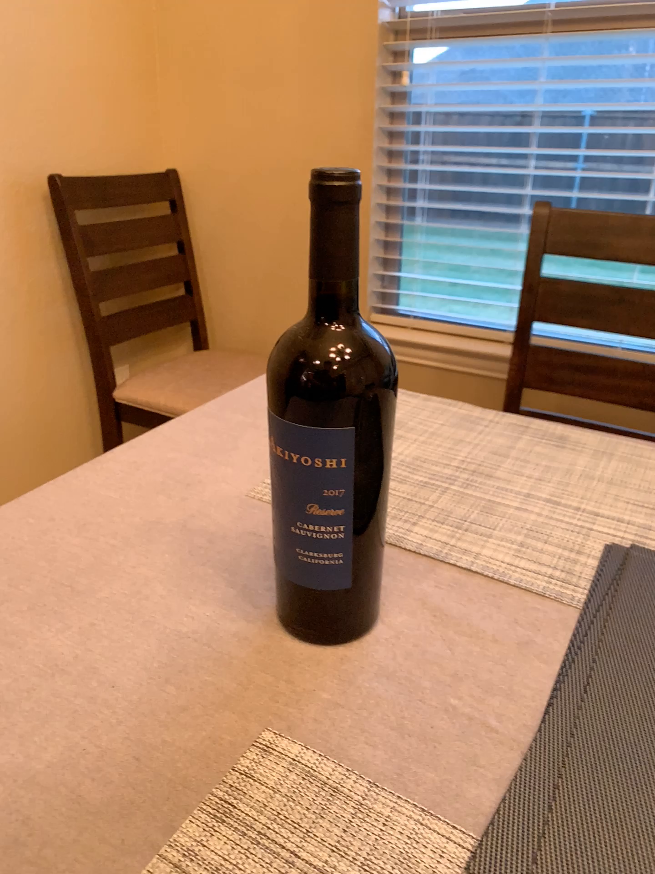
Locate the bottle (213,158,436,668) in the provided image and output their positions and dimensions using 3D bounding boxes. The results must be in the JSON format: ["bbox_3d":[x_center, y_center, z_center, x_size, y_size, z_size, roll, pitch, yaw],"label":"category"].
[{"bbox_3d":[-0.002,-0.013,0.429,0.090,0.299,0.090,1,24,0],"label":"bottle"}]
